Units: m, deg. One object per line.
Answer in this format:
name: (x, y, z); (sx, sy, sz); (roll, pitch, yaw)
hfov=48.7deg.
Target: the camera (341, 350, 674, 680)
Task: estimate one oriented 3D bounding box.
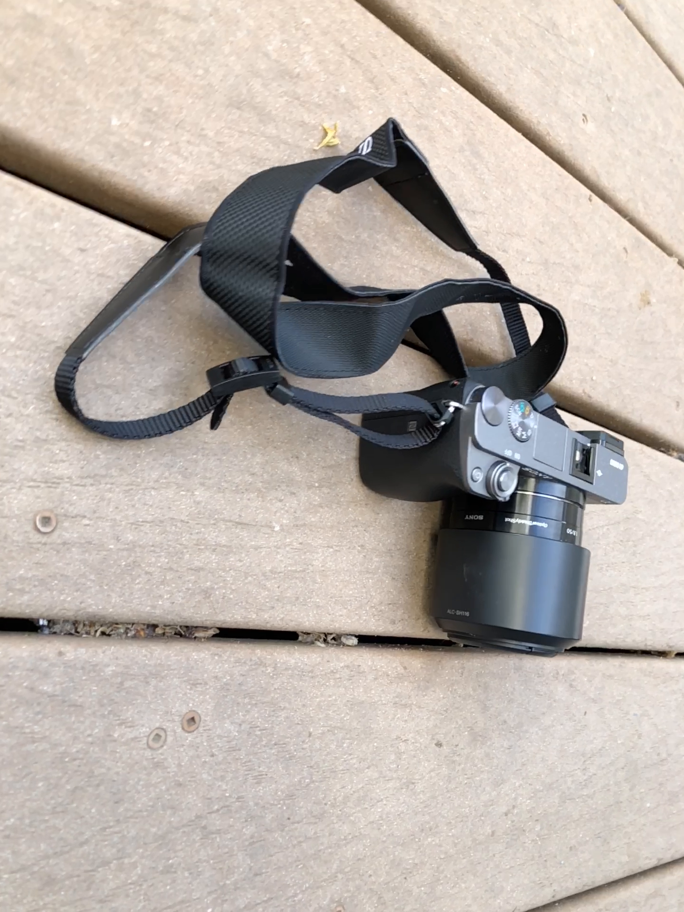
camera: (0.078, 0.032, 0.330); (0.131, 0.070, 0.110); (18, 75, -40)
